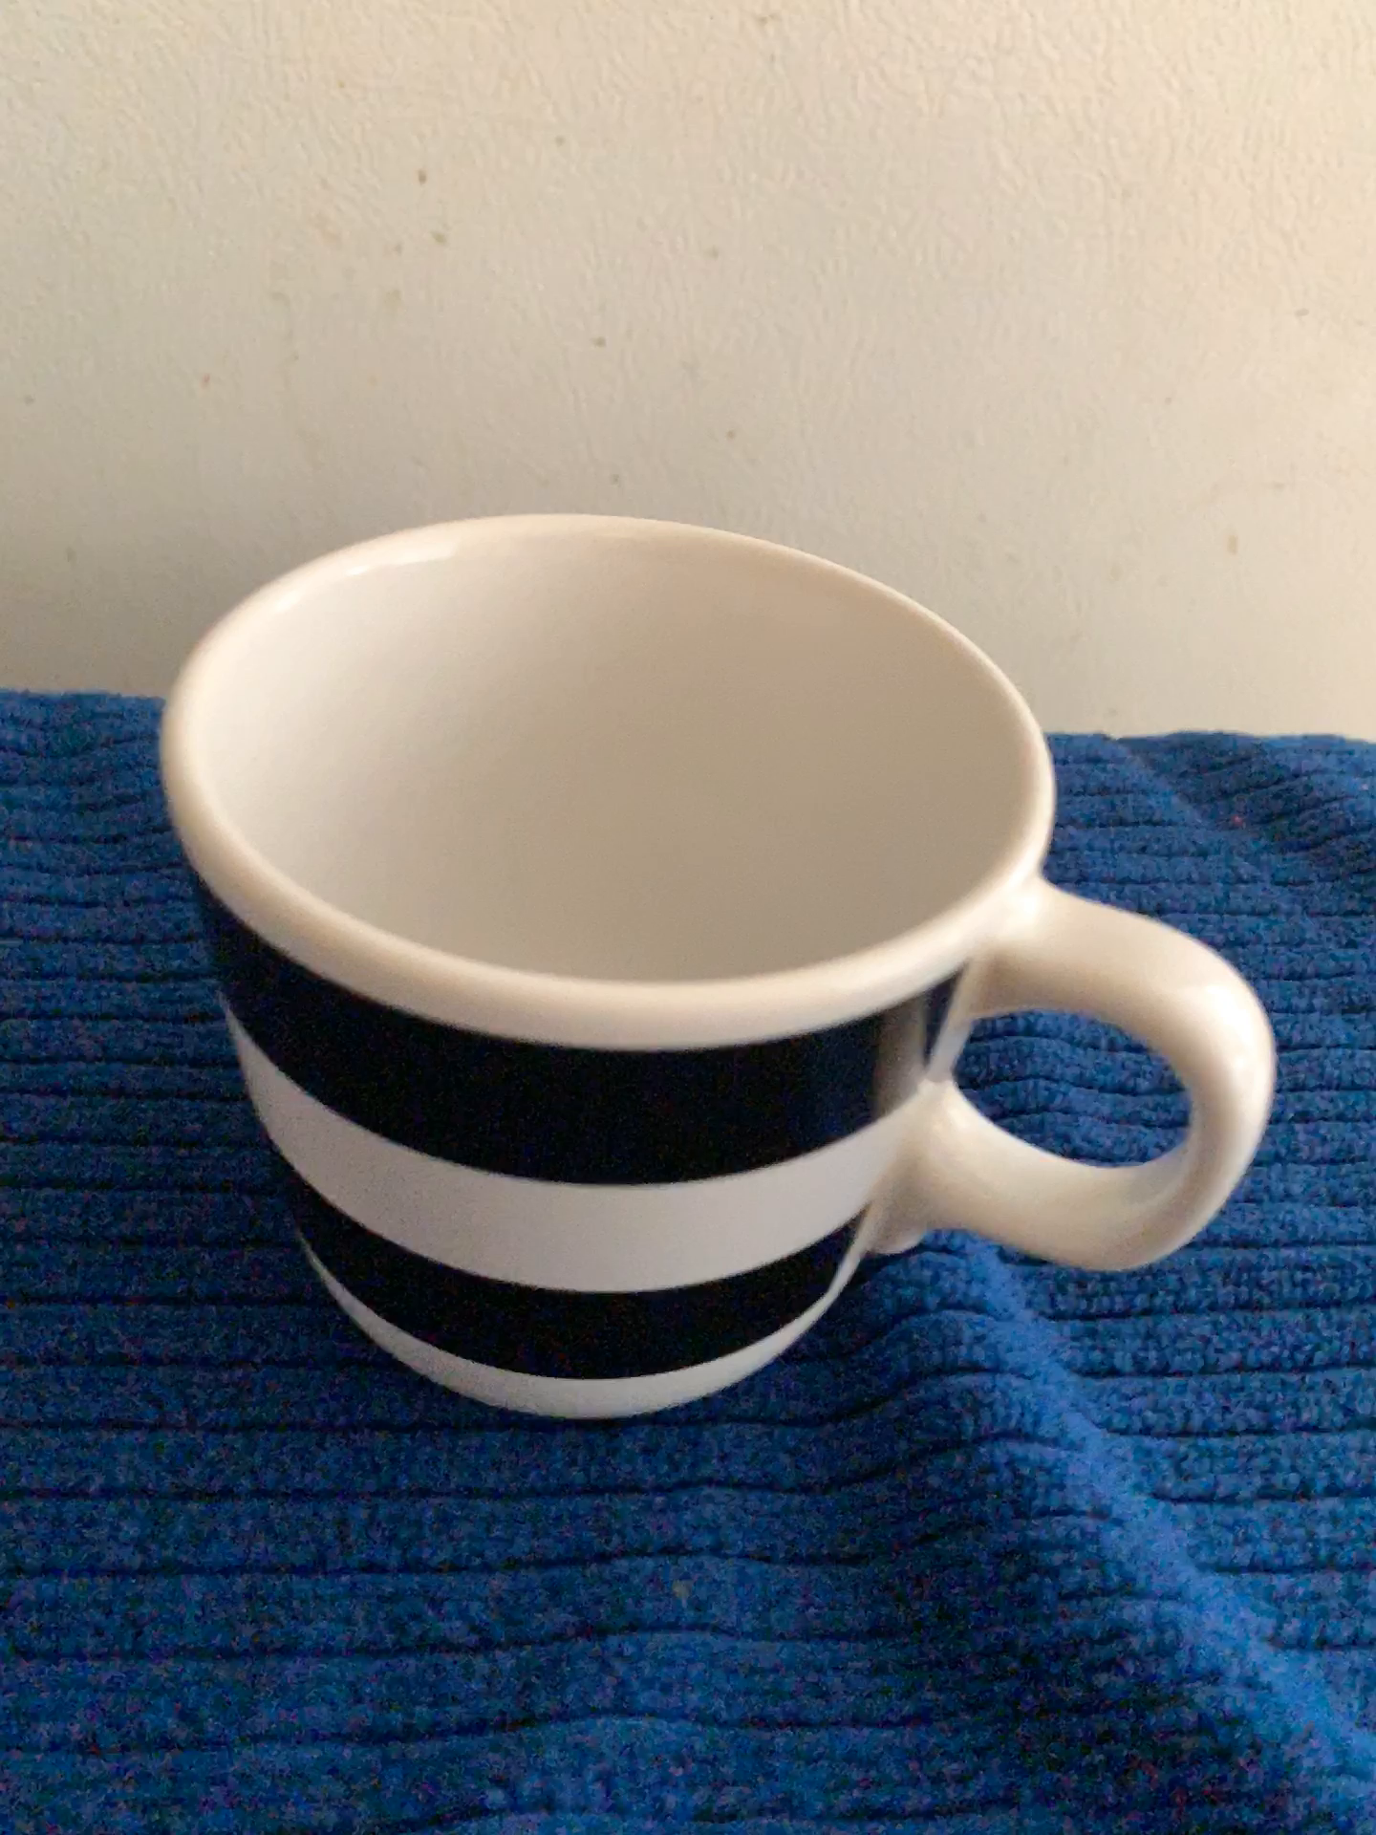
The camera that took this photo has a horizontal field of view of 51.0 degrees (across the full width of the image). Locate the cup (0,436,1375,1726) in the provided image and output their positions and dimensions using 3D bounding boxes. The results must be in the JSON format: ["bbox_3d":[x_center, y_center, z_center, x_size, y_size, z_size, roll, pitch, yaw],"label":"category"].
[{"bbox_3d":[-0.001,0.004,0.152,0.113,0.057,0.085,21,43,20],"label":"cup"}]
